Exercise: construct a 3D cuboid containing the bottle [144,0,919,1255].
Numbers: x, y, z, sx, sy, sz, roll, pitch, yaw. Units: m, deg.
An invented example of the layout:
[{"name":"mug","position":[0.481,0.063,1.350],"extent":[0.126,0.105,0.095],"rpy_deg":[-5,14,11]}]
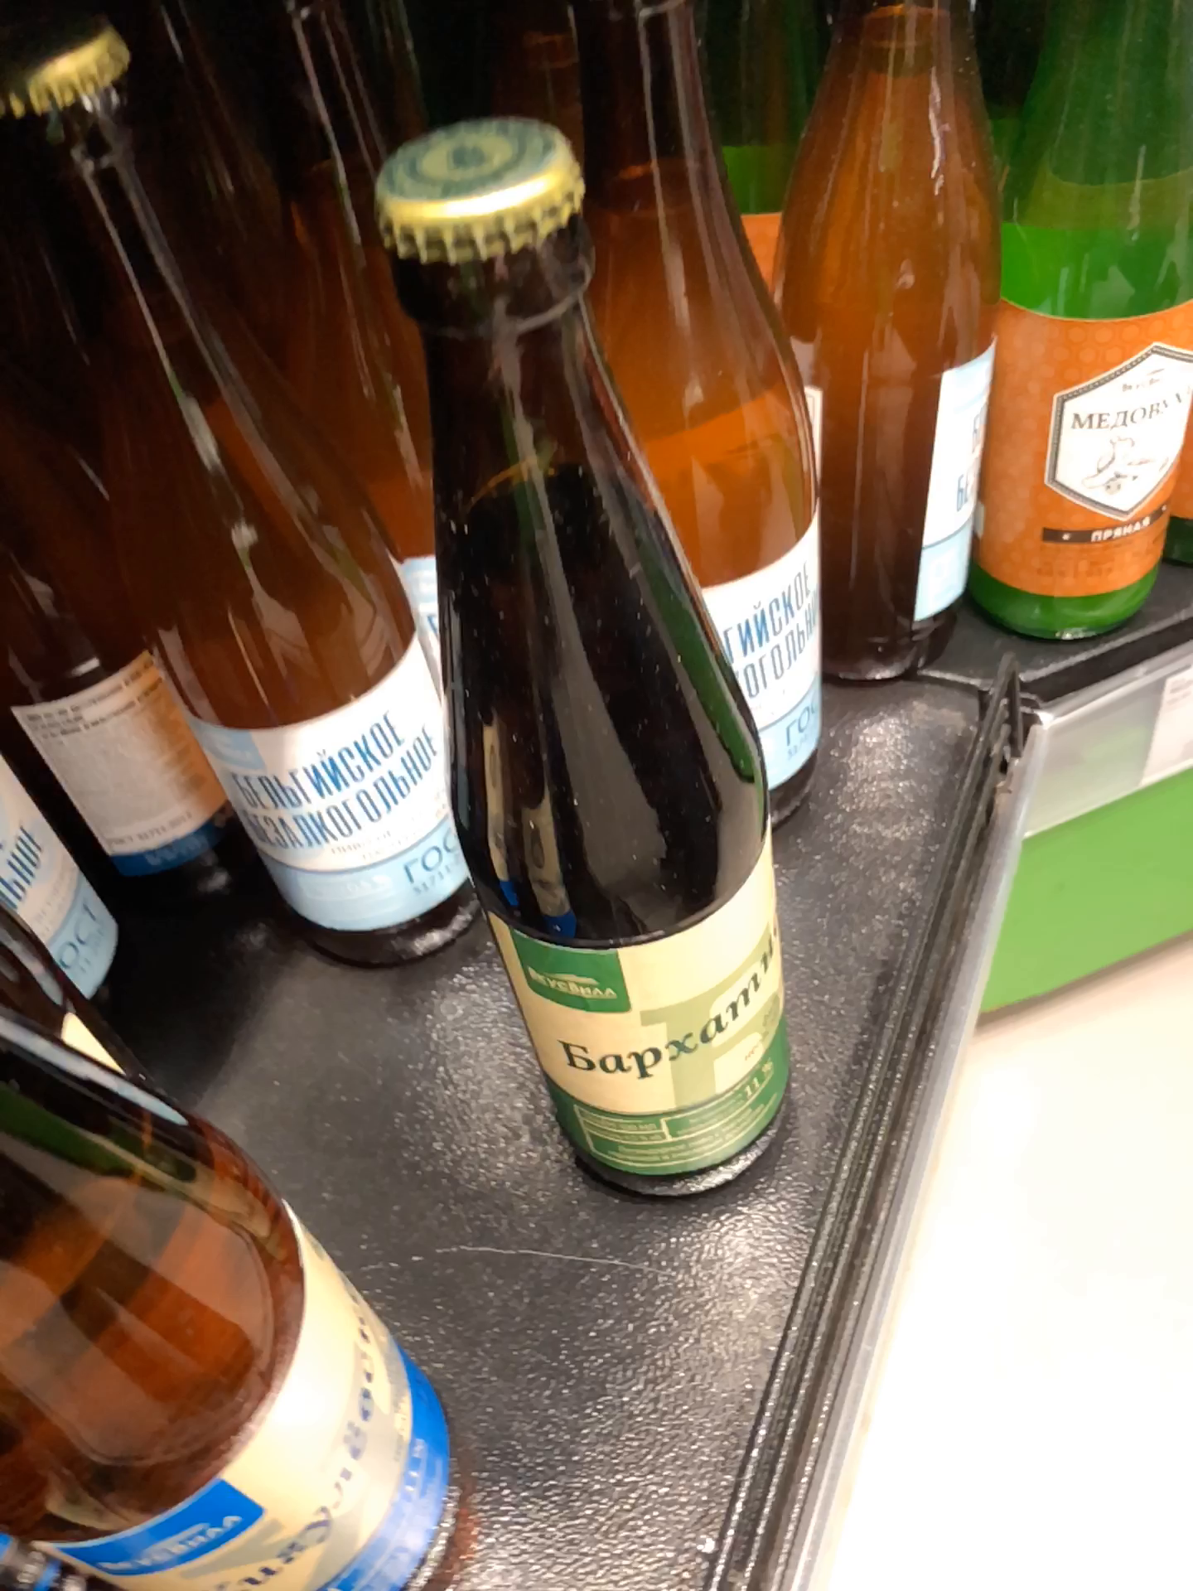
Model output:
[{"name":"bottle","position":[0.004,-0.006,0.268],"extent":[0.080,0.249,0.070],"rpy_deg":[-29,51,-15]}]
